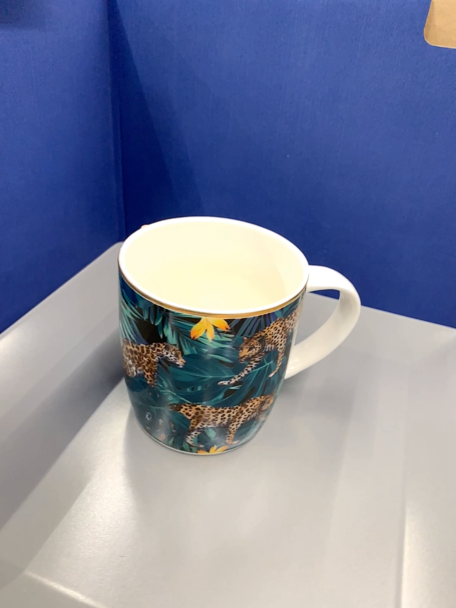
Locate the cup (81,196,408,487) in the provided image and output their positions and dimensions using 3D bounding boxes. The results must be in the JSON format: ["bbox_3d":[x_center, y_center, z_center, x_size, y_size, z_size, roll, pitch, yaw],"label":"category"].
[{"bbox_3d":[0.001,0.008,0.246,0.126,0.091,0.093,-10,34,-23],"label":"cup"}]
